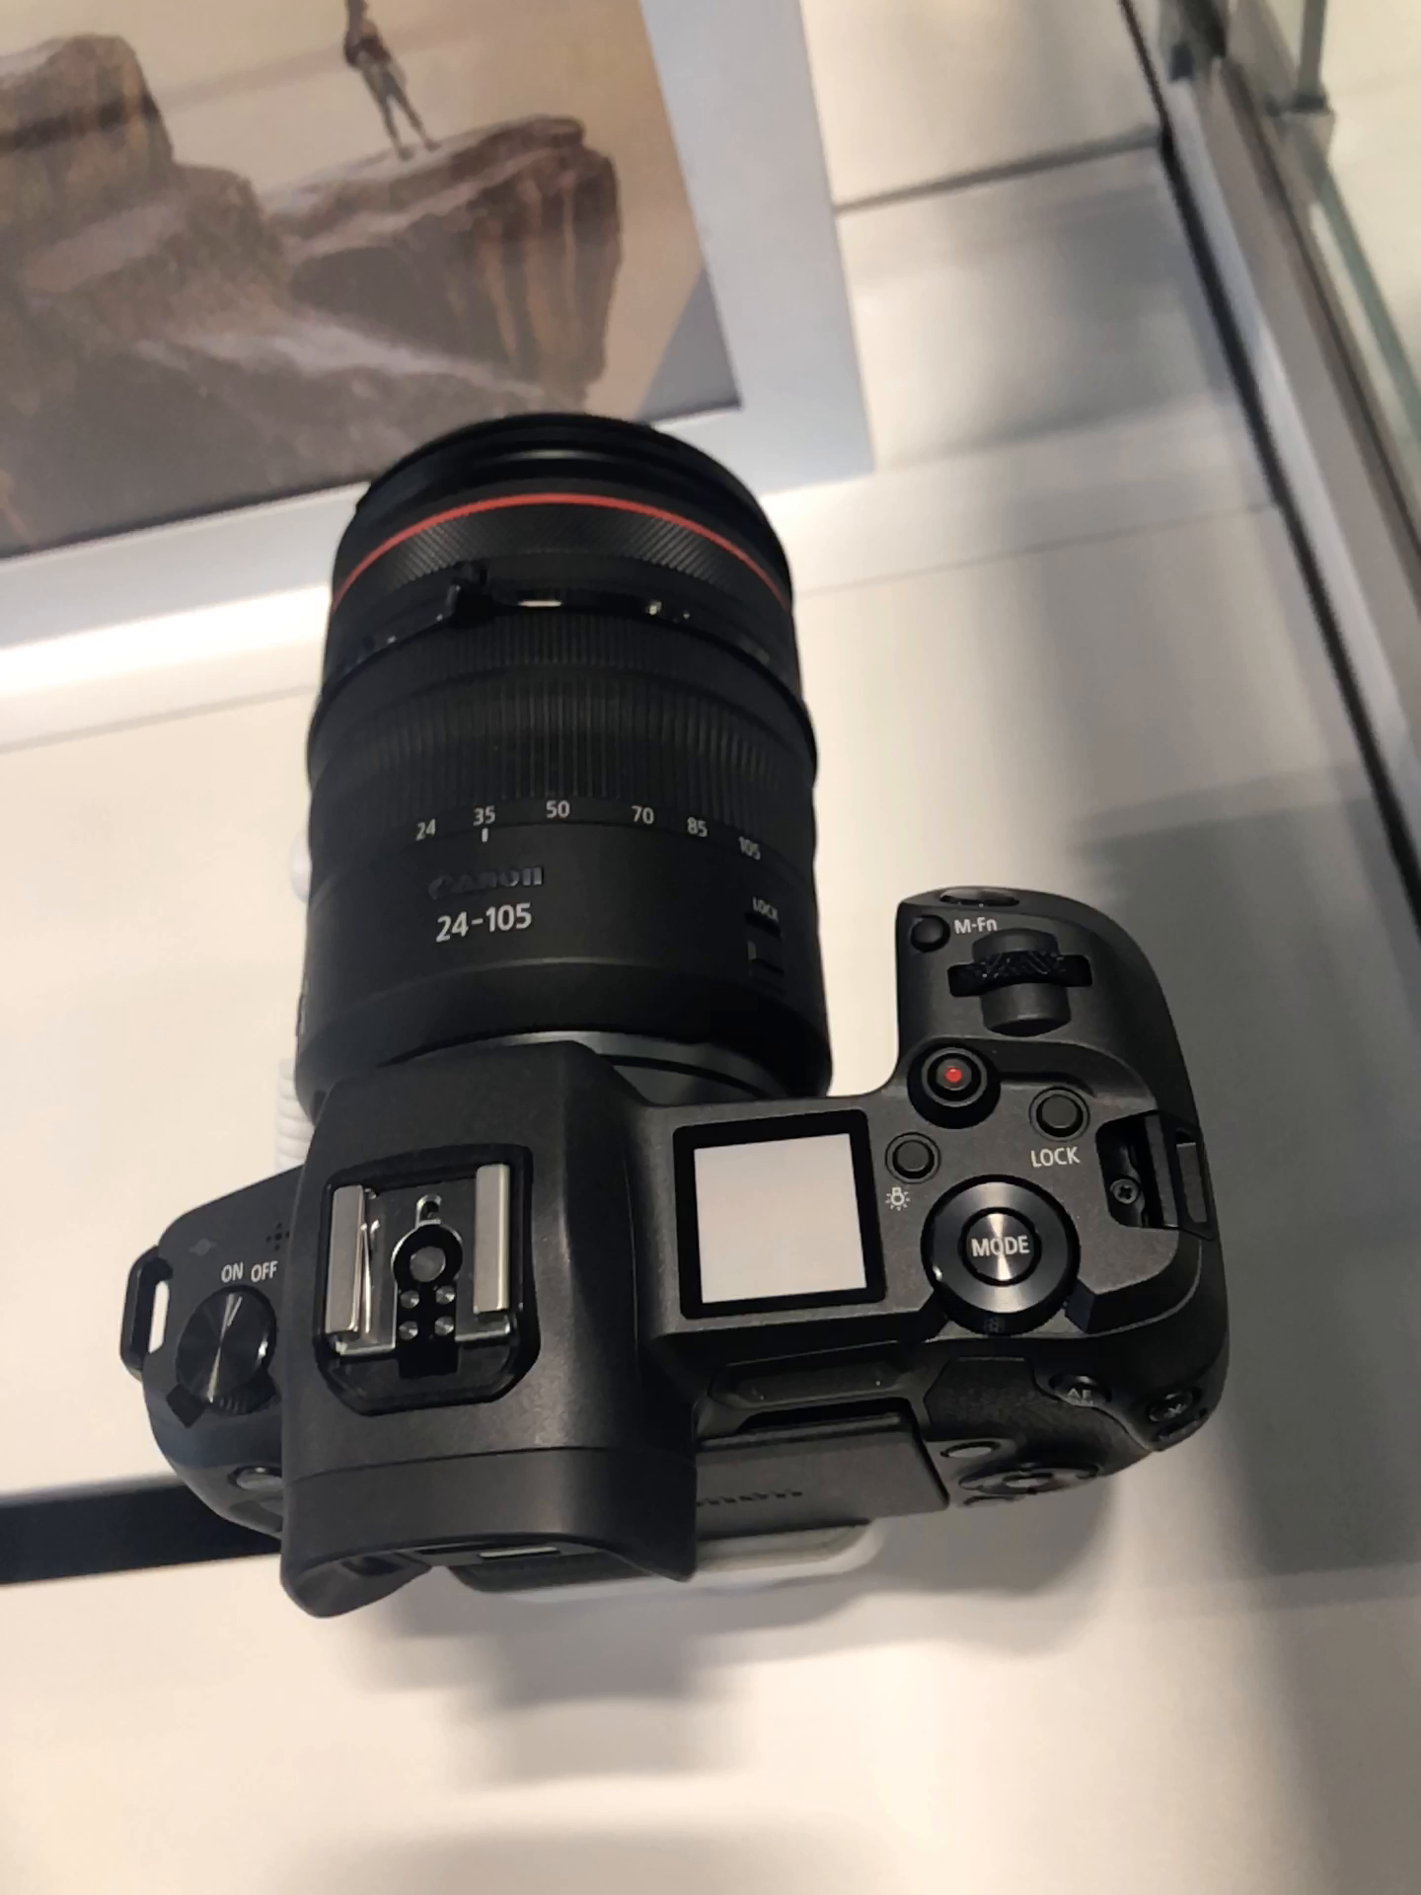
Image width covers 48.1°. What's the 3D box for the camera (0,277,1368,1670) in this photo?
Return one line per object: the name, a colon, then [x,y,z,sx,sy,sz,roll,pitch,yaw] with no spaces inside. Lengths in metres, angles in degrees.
camera: [-0.009,0.008,0.217,0.139,0.086,0.145,-10,60,8]
